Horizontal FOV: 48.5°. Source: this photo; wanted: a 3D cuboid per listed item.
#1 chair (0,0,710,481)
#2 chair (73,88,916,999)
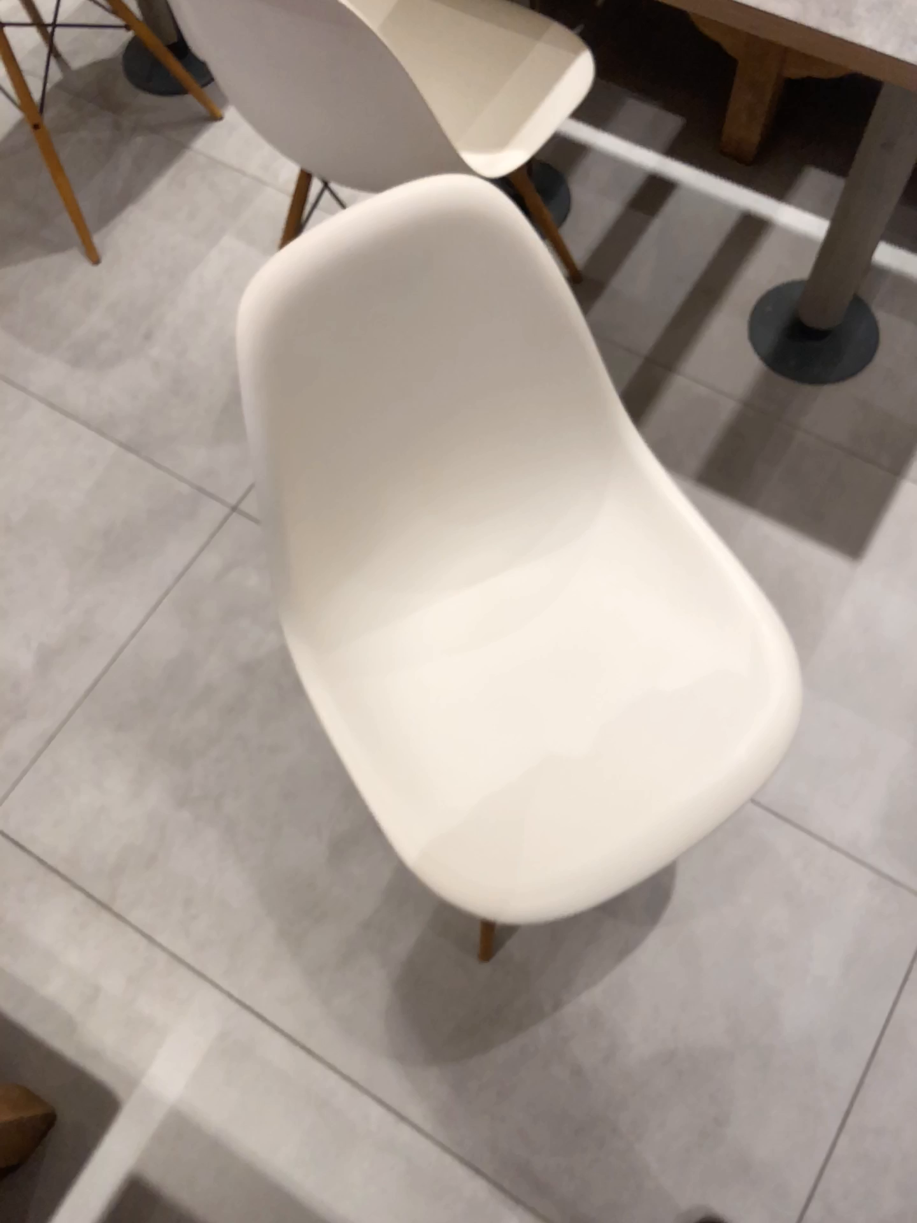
[{"bbox_3d":[-0.088,-0.694,1.426,0.562,0.771,0.513,29,71,14],"label":"chair"},{"bbox_3d":[0.058,0.024,1.112,0.471,0.781,0.553,-31,69,-10],"label":"chair"}]
